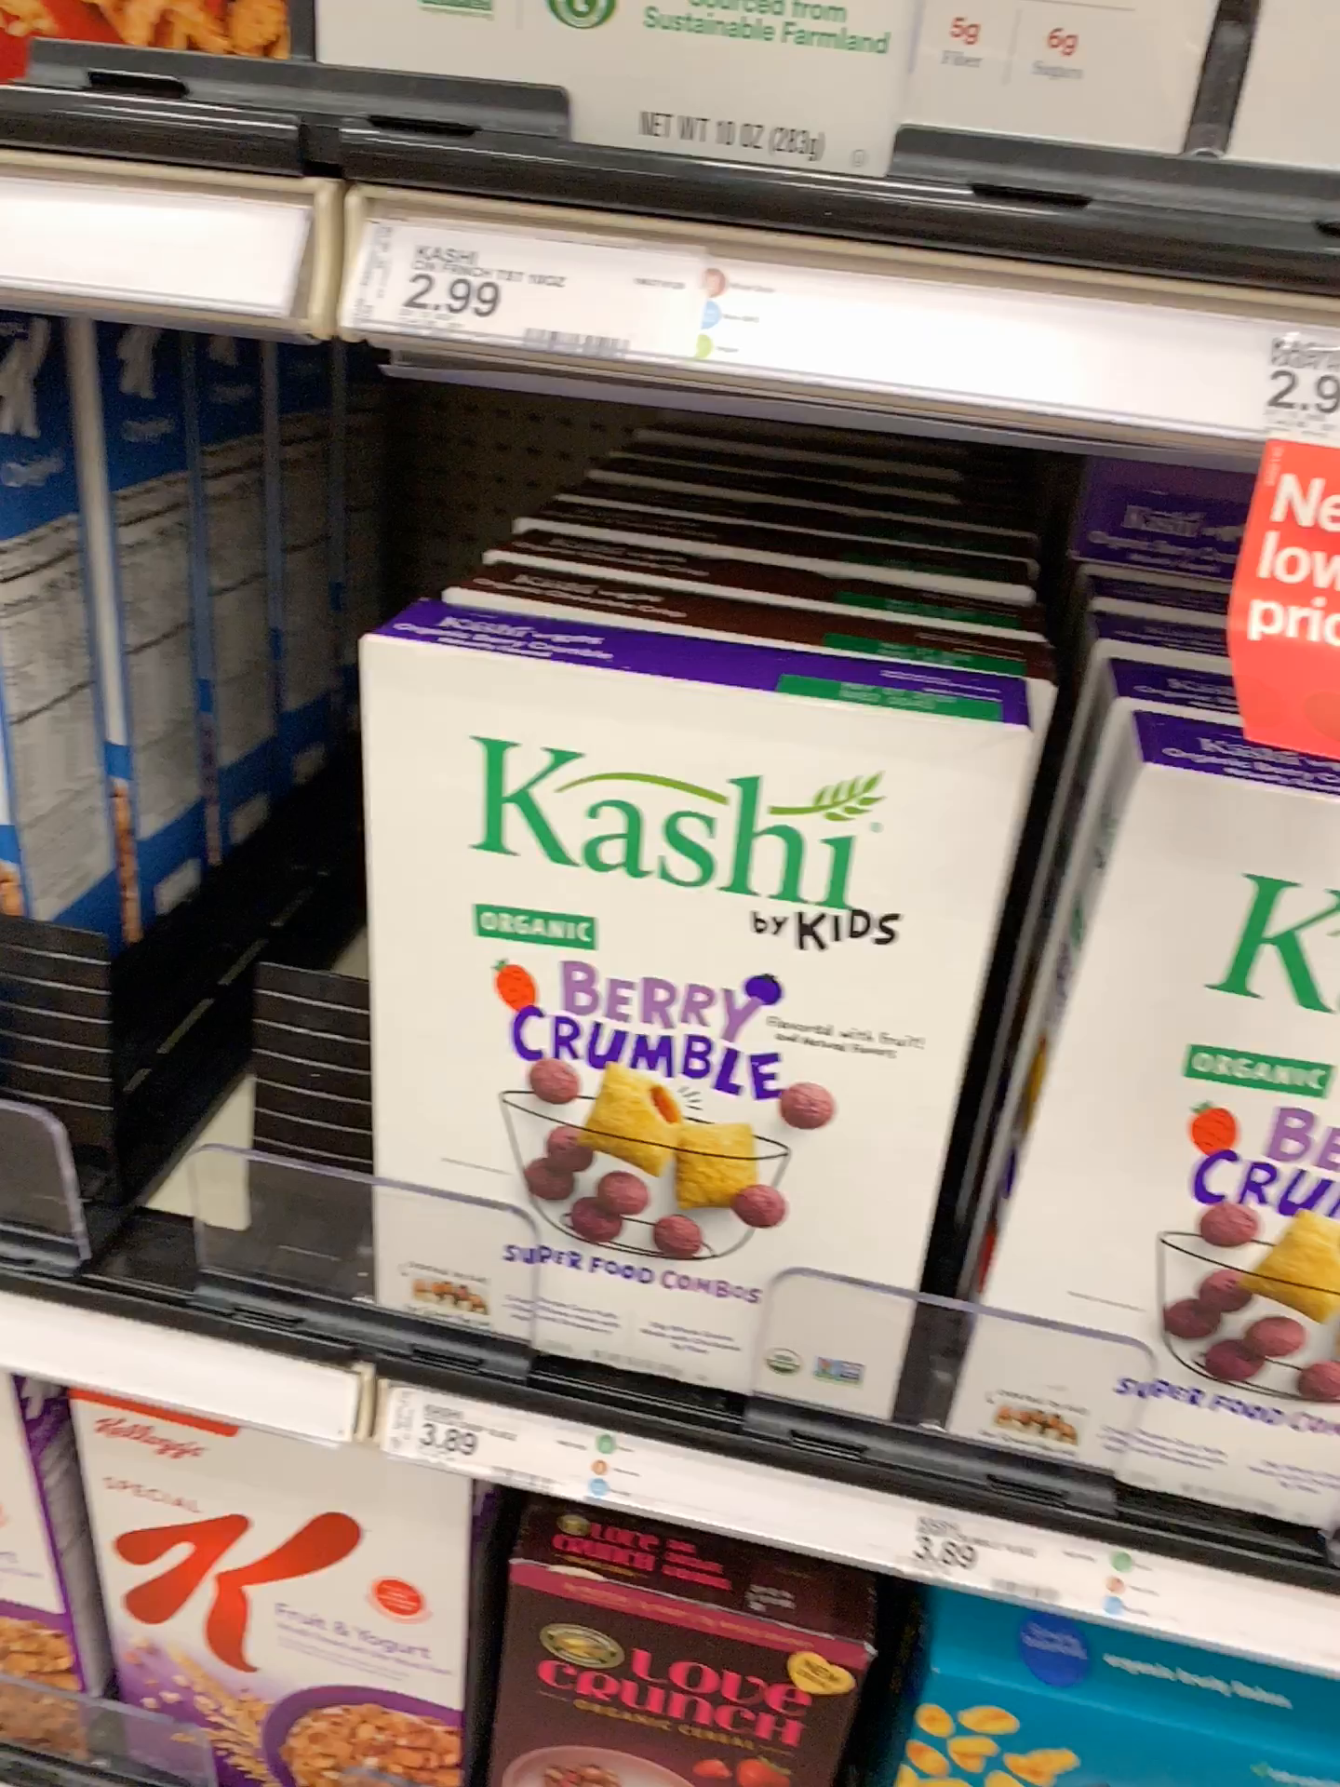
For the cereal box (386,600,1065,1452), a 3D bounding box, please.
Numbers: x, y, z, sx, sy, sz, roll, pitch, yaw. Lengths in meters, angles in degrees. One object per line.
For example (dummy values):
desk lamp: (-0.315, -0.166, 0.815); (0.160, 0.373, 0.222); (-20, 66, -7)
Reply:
cereal box: (0.005, 0.056, 0.470); (0.190, 0.279, 0.050); (9, 29, 6)
